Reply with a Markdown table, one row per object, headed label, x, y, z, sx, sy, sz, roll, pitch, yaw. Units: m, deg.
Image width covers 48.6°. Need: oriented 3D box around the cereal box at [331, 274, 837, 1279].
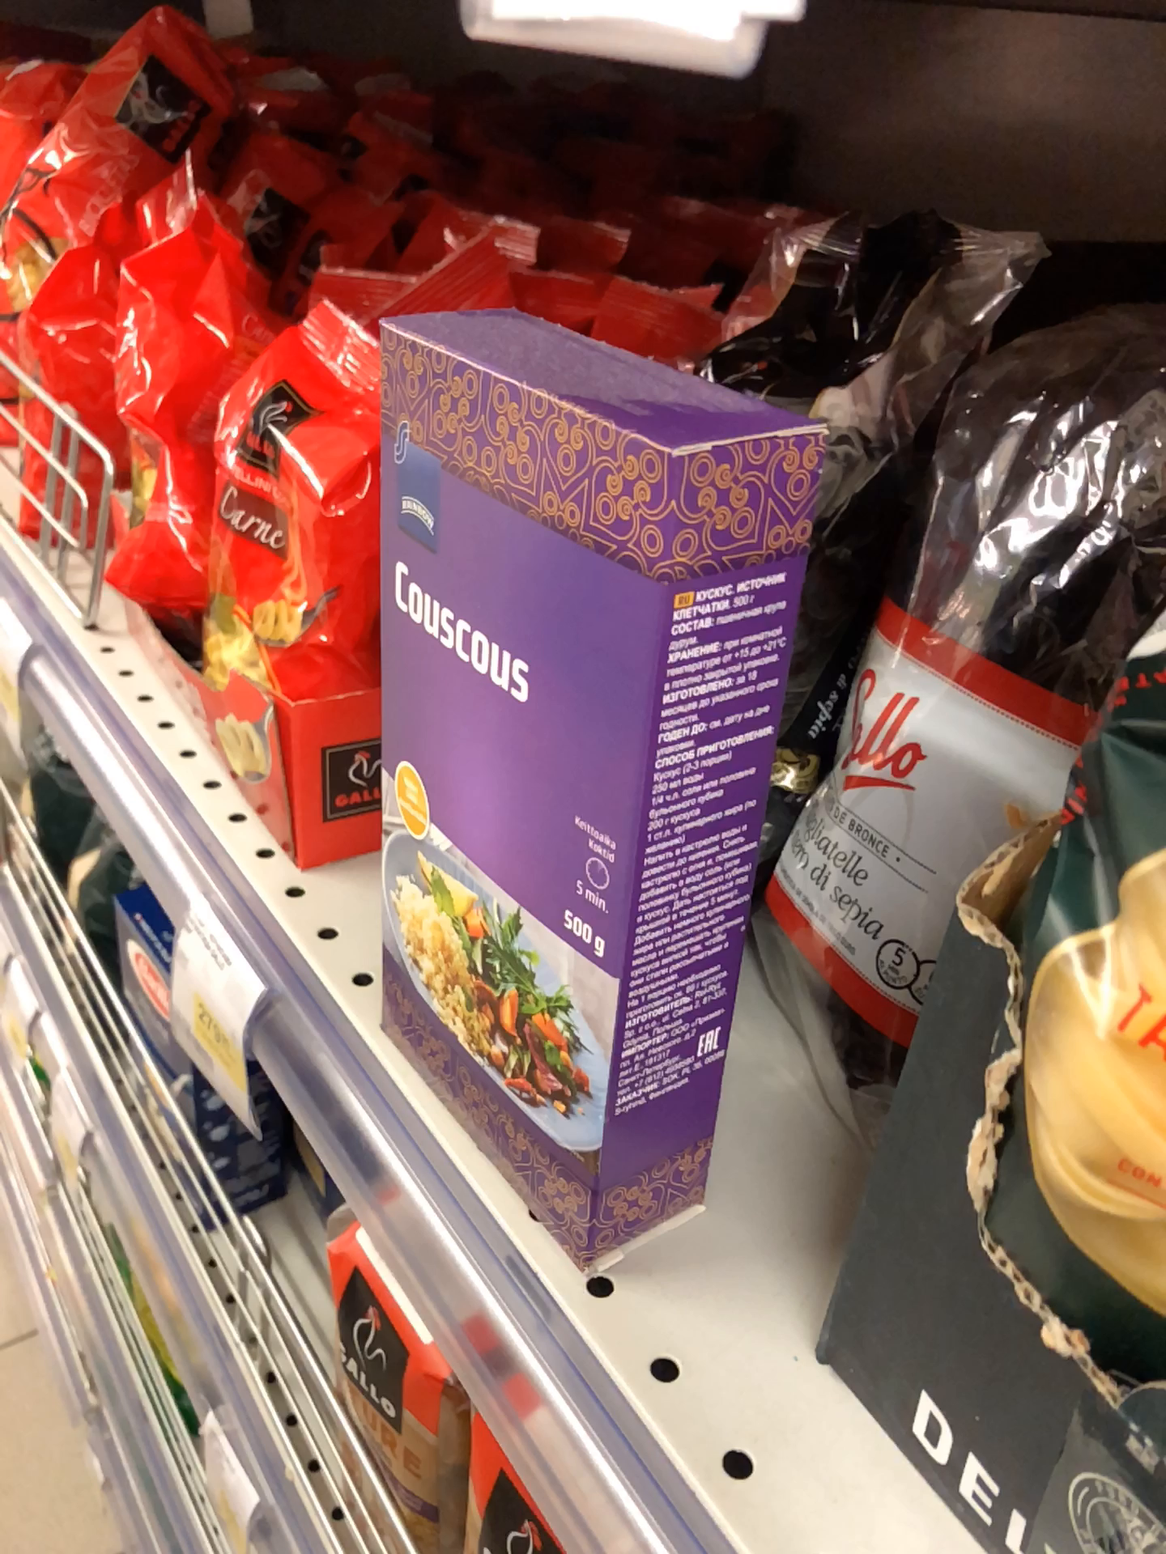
| label | x | y | z | sx | sy | sz | roll | pitch | yaw |
| --- | --- | --- | --- | --- | --- | --- | --- | --- | --- |
| cereal box | -0.013 | 0.000 | 0.297 | 0.040 | 0.199 | 0.110 | -17 | 37 | -33 |
